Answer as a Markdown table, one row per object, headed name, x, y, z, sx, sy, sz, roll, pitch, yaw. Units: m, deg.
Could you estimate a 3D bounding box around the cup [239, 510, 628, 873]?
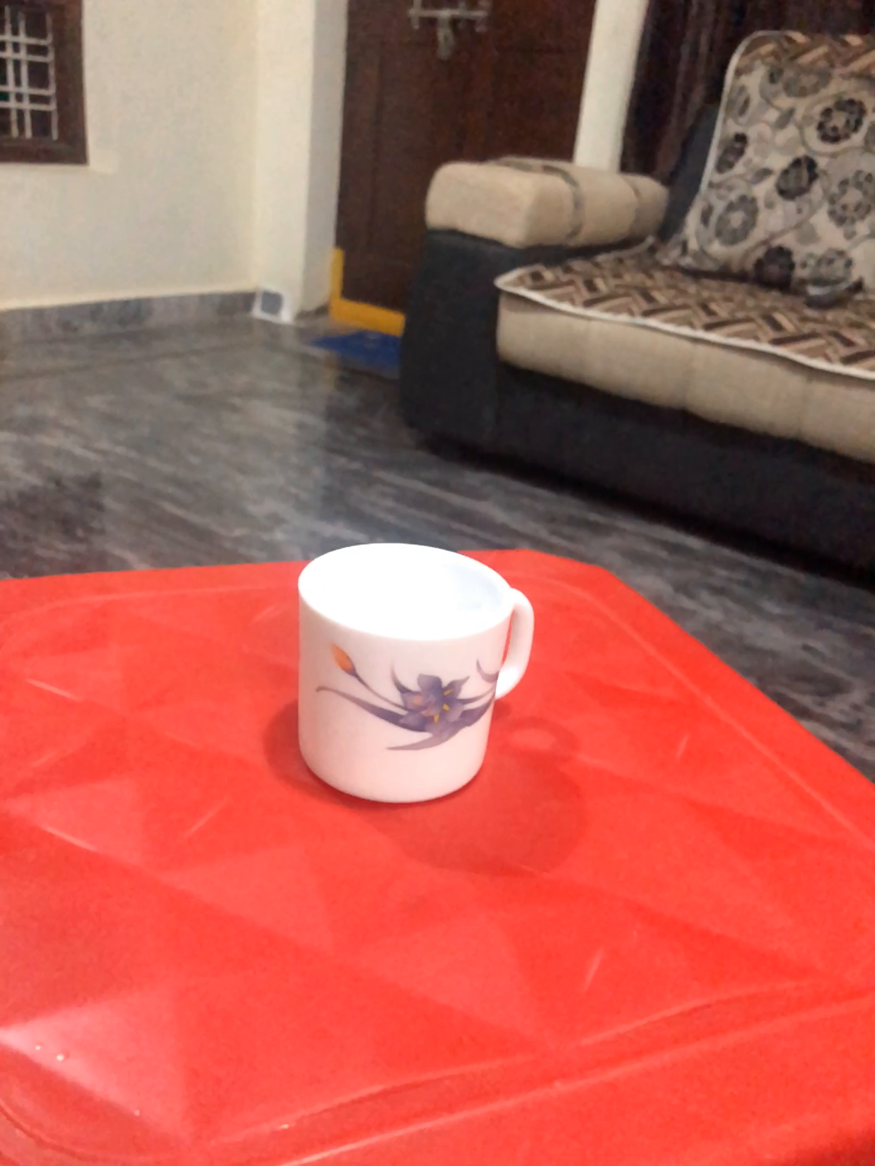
| name | x | y | z | sx | sy | sz | roll | pitch | yaw |
| --- | --- | --- | --- | --- | --- | --- | --- | --- | --- |
| cup | -0.001 | 0.026 | 0.296 | 0.070 | 0.060 | 0.090 | 25 | 31 | 36 |
